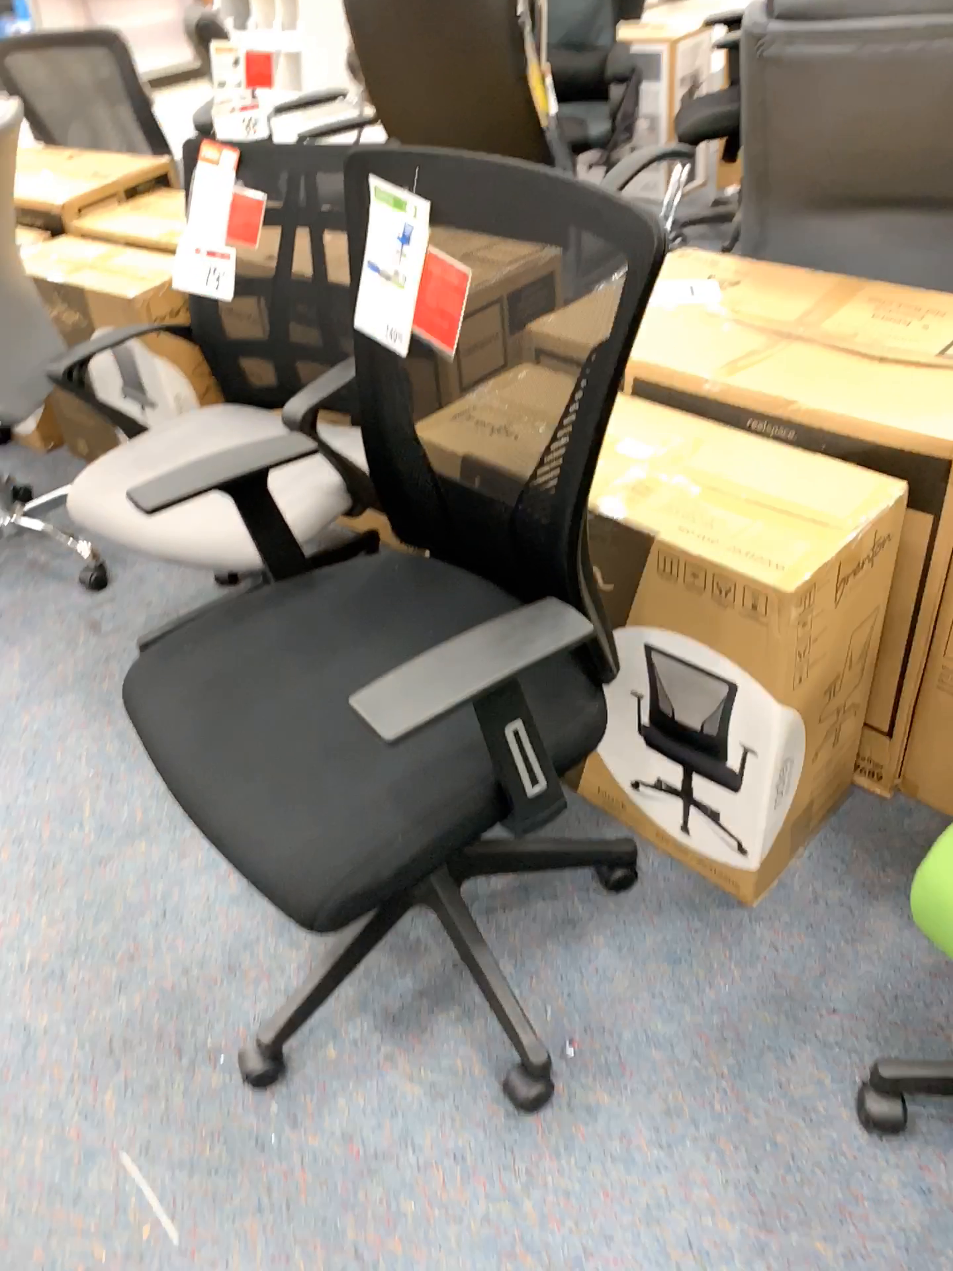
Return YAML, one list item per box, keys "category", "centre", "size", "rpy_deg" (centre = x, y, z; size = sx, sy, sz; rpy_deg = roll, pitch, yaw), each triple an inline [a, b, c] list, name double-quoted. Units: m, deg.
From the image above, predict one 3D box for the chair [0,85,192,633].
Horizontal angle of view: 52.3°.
- category: "chair"
  centre: [-1.206, -0.598, 2.158]
  size: [0.698, 0.934, 0.715]
  rpy_deg: [-1, 38, 8]

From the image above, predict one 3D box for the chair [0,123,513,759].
- category: "chair"
  centre: [-0.405, -0.400, 1.842]
  size: [0.622, 0.875, 0.680]
  rpy_deg: [20, 45, 30]

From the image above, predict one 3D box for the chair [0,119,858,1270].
- category: "chair"
  centre: [-0.128, 0.034, 1.144]
  size: [0.679, 0.974, 0.683]
  rpy_deg: [-29, 43, -26]

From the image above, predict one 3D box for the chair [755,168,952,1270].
- category: "chair"
  centre: [0.778, 0.231, 0.823]
  size: [0.709, 0.934, 0.673]
  rpy_deg: [-29, 43, -26]
